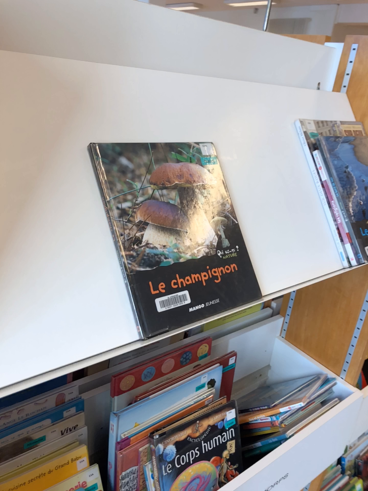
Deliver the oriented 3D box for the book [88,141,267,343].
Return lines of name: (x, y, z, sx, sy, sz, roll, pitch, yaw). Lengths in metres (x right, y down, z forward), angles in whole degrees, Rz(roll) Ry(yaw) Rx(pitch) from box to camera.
book: (0.000, -0.022, 0.539, 0.203, 0.242, 0.020, -12, -8, -38)
